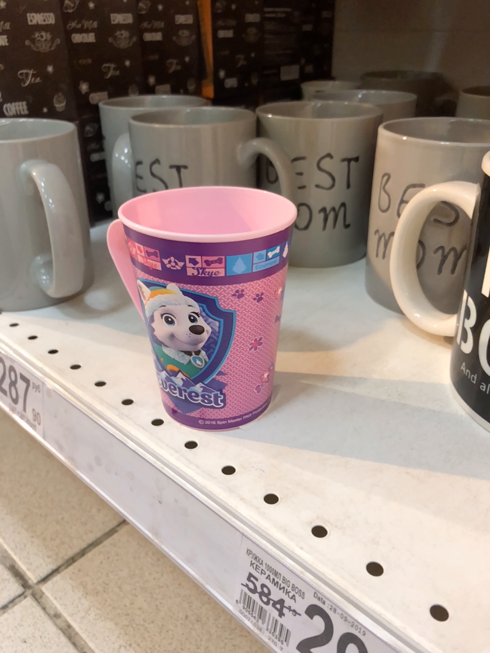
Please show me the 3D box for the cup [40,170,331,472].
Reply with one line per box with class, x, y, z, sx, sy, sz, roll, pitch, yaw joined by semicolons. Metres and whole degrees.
cup;-0.027;-0.011;0.275;0.109;0.104;0.078;18;33;30
